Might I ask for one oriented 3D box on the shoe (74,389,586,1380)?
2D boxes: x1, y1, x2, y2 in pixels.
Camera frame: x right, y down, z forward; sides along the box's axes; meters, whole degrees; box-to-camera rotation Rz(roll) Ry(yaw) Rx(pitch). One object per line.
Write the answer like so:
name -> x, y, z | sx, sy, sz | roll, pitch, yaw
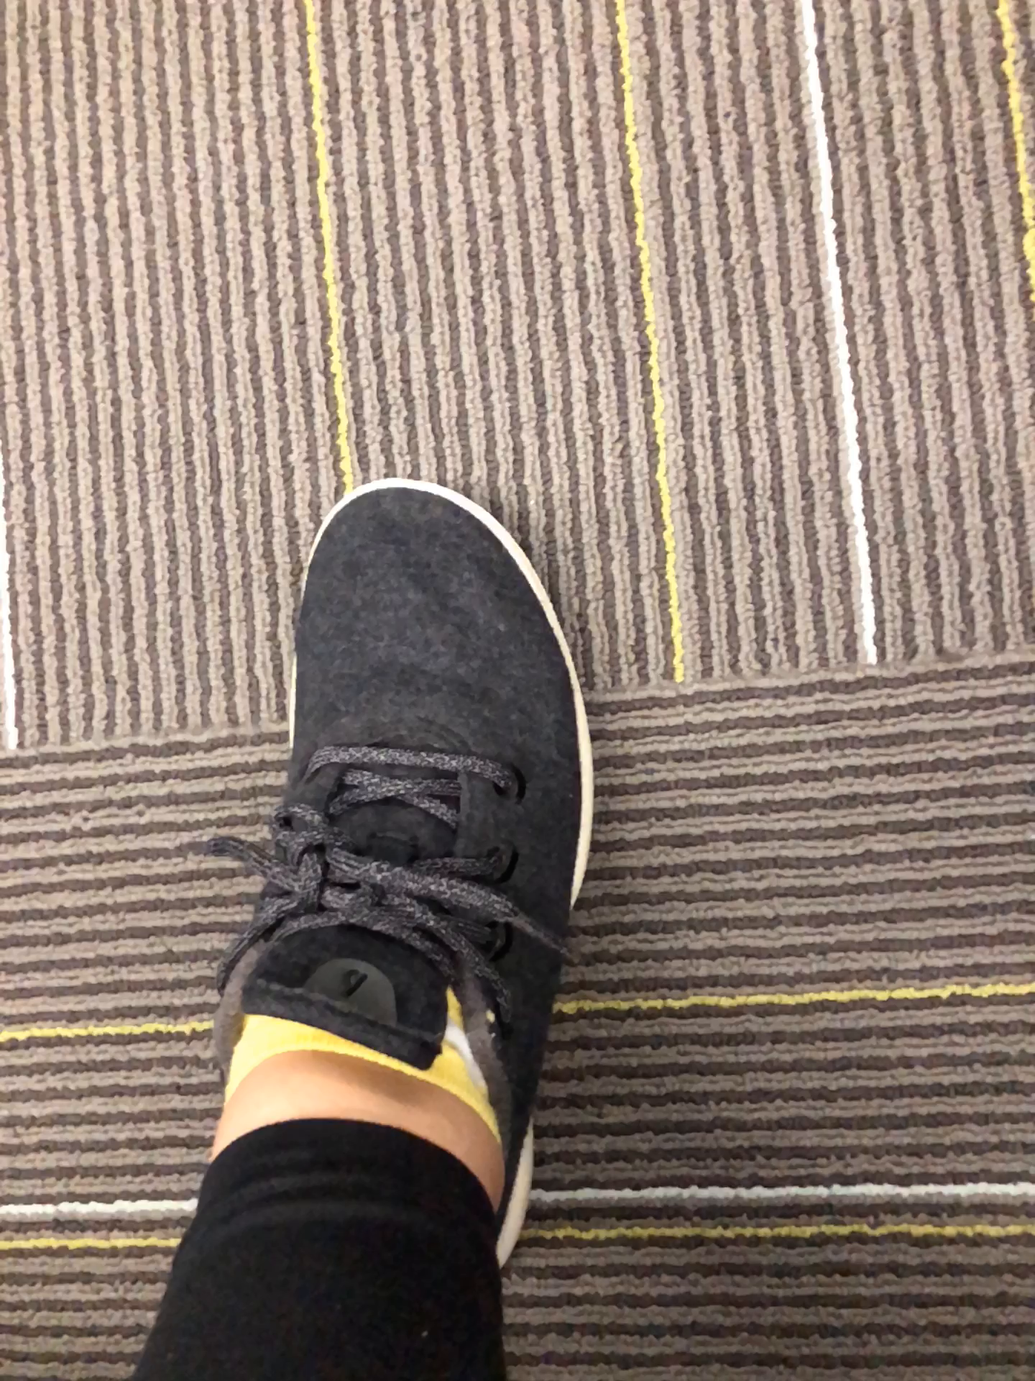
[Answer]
shoe -> -0.045, 0.059, 0.321 | 0.120, 0.080, 0.260 | 0, 88, 10
